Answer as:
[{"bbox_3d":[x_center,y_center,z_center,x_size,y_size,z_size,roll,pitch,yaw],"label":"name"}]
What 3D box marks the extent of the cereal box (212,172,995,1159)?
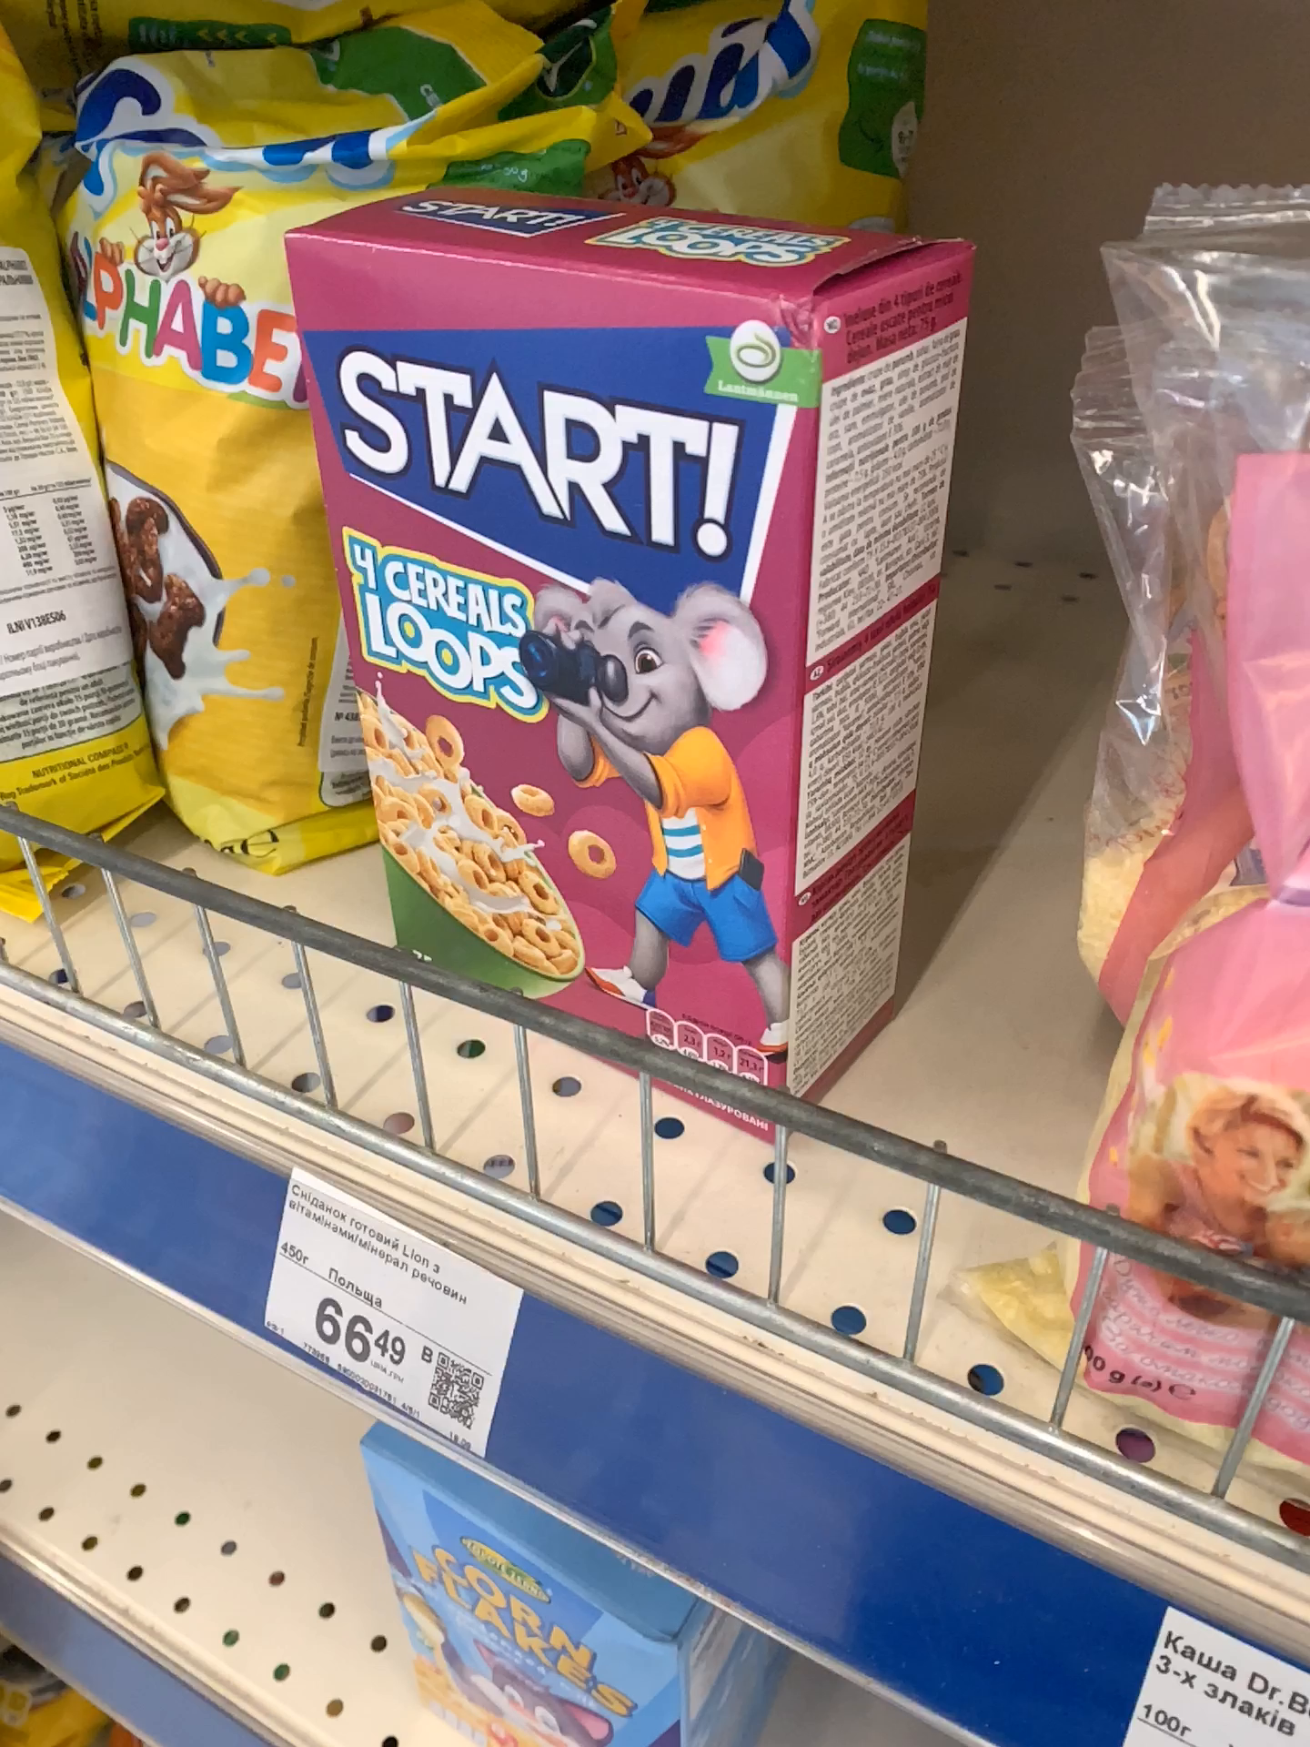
[{"bbox_3d":[-0.010,-0.040,0.265,0.120,0.158,0.050,21,41,29],"label":"cereal box"}]
